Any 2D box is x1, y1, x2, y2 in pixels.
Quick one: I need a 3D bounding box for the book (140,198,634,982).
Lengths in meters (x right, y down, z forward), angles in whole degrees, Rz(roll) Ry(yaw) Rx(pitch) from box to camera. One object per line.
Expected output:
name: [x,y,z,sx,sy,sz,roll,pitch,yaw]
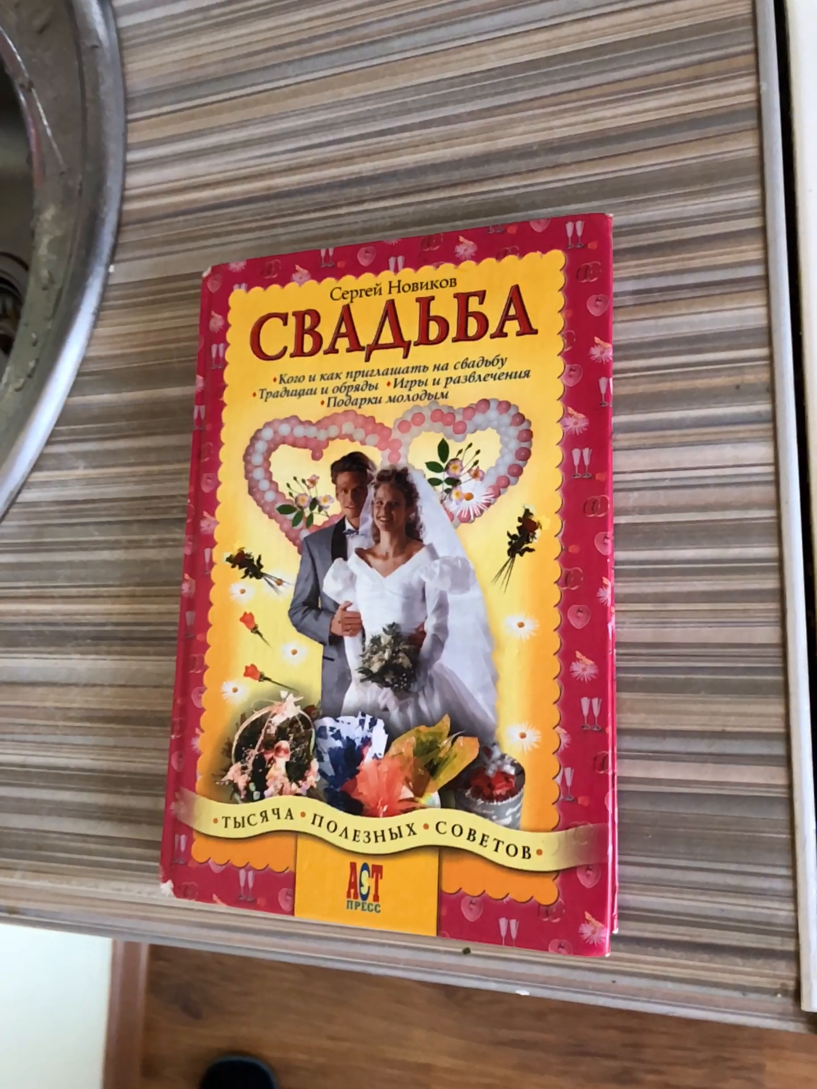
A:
book: [-0.007,0.008,0.287,0.150,0.020,0.220,-1,80,19]
